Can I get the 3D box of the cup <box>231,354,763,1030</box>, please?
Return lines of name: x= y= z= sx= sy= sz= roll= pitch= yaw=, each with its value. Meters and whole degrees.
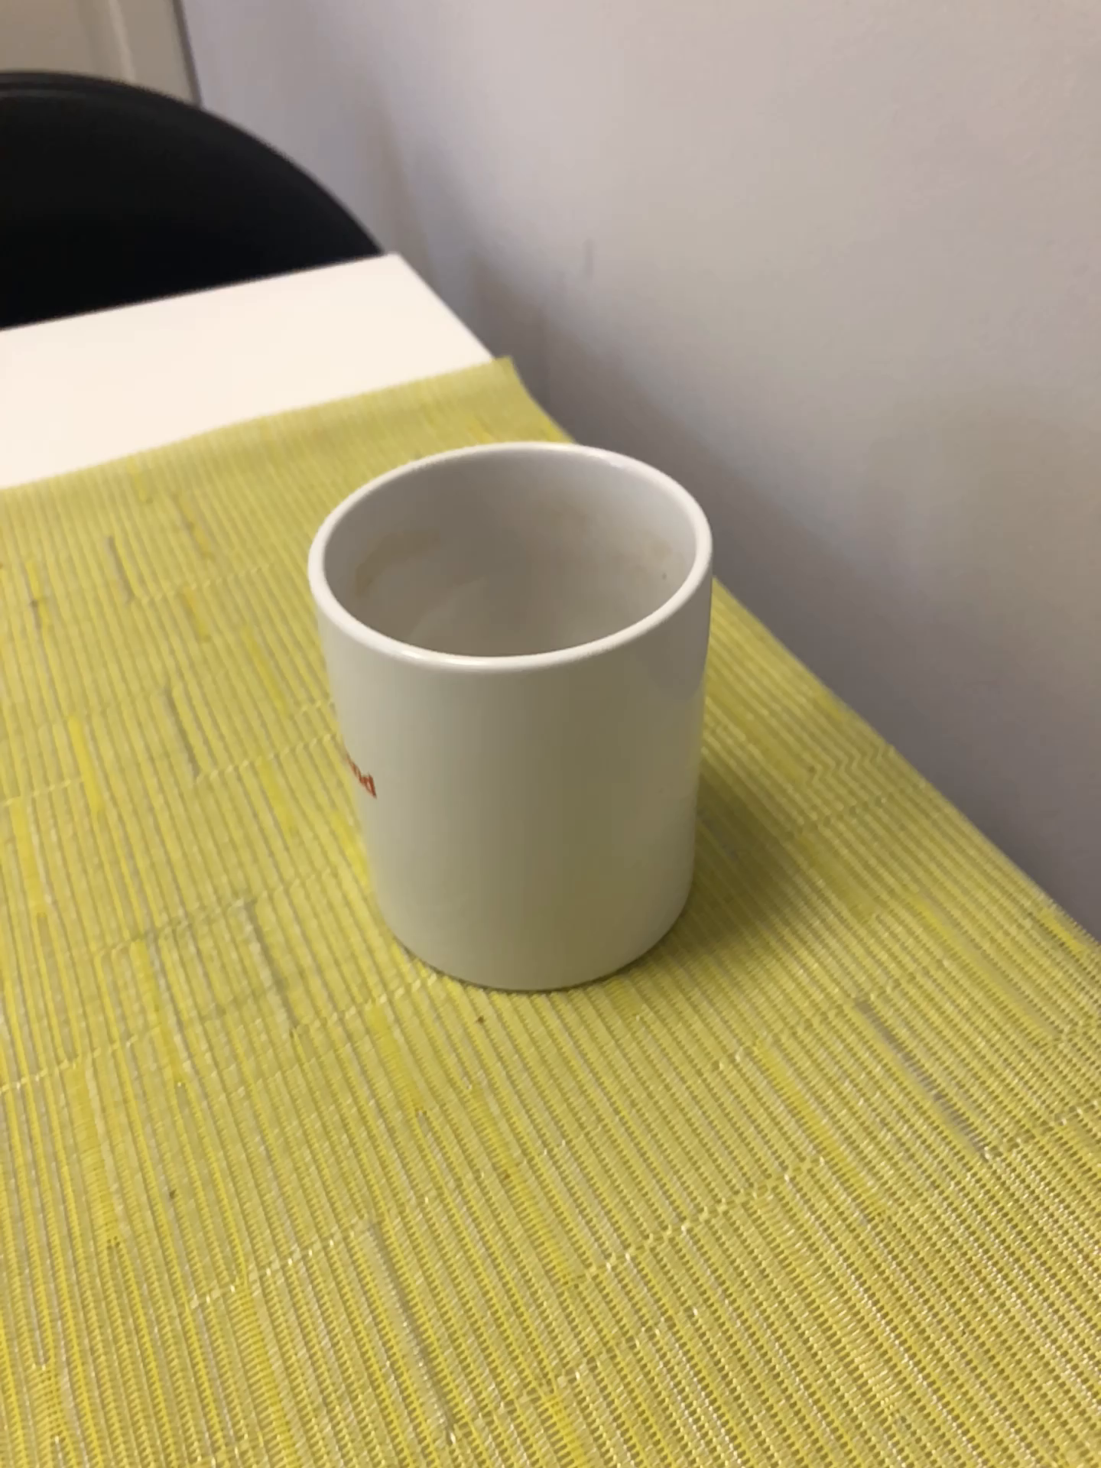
cup: x=-0.012 y=-0.013 z=0.283 sx=0.089 sy=0.100 sz=0.114 roll=-3 pitch=42 yaw=-3
